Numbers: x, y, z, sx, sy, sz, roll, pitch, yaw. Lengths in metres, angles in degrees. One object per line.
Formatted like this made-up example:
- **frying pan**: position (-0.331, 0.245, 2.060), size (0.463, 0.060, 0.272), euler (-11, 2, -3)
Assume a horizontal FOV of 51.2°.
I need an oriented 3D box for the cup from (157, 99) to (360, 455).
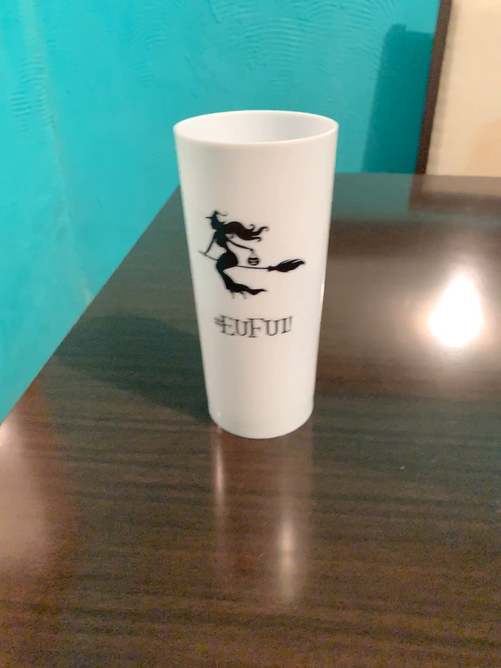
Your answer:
- **cup**: position (0.007, -0.025, 0.249), size (0.070, 0.149, 0.070), euler (0, 32, 0)
